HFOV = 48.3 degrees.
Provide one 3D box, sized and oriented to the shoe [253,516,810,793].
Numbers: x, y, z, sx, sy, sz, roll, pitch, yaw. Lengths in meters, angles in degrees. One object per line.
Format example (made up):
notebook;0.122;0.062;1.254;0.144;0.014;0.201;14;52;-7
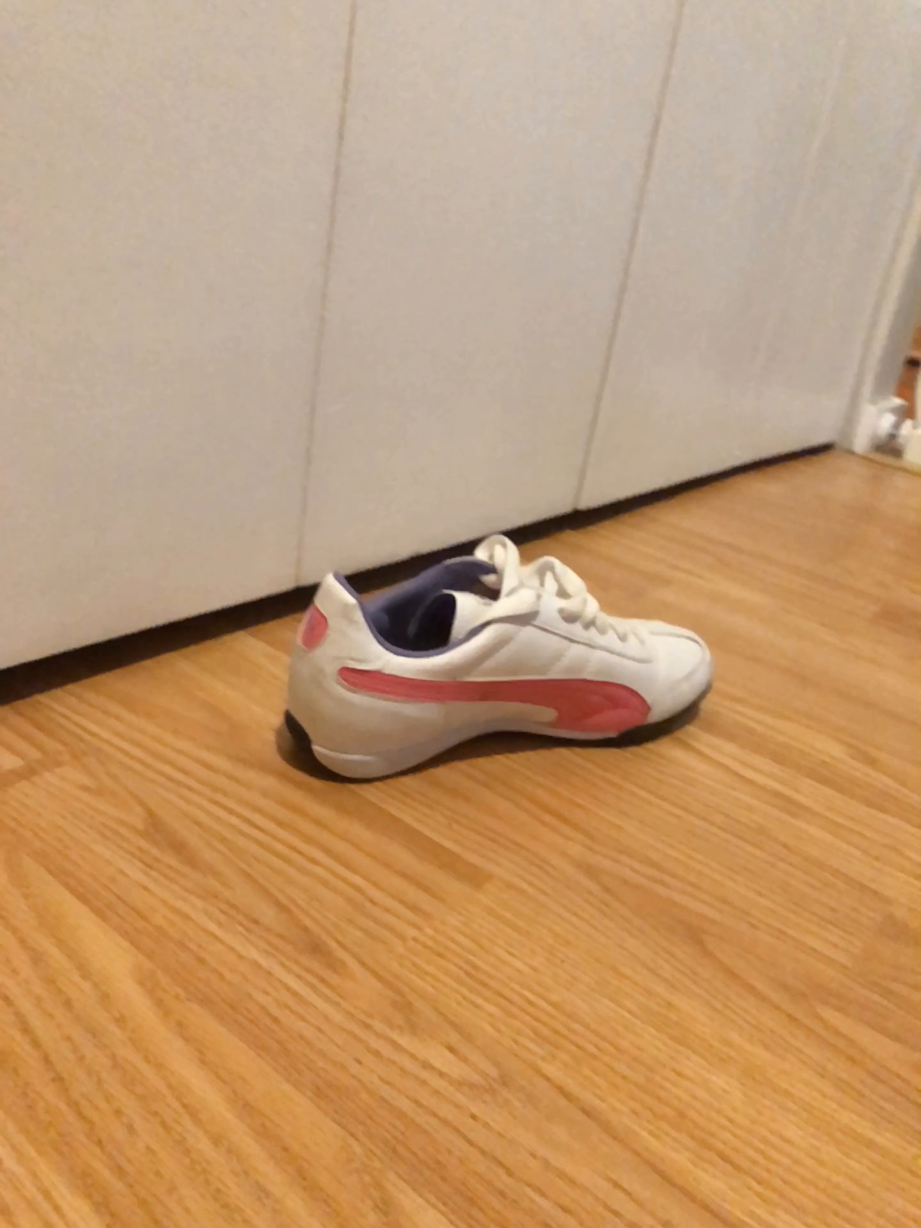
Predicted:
shoe;0.040;0.008;0.520;0.260;0.080;0.100;-5;27;-32
